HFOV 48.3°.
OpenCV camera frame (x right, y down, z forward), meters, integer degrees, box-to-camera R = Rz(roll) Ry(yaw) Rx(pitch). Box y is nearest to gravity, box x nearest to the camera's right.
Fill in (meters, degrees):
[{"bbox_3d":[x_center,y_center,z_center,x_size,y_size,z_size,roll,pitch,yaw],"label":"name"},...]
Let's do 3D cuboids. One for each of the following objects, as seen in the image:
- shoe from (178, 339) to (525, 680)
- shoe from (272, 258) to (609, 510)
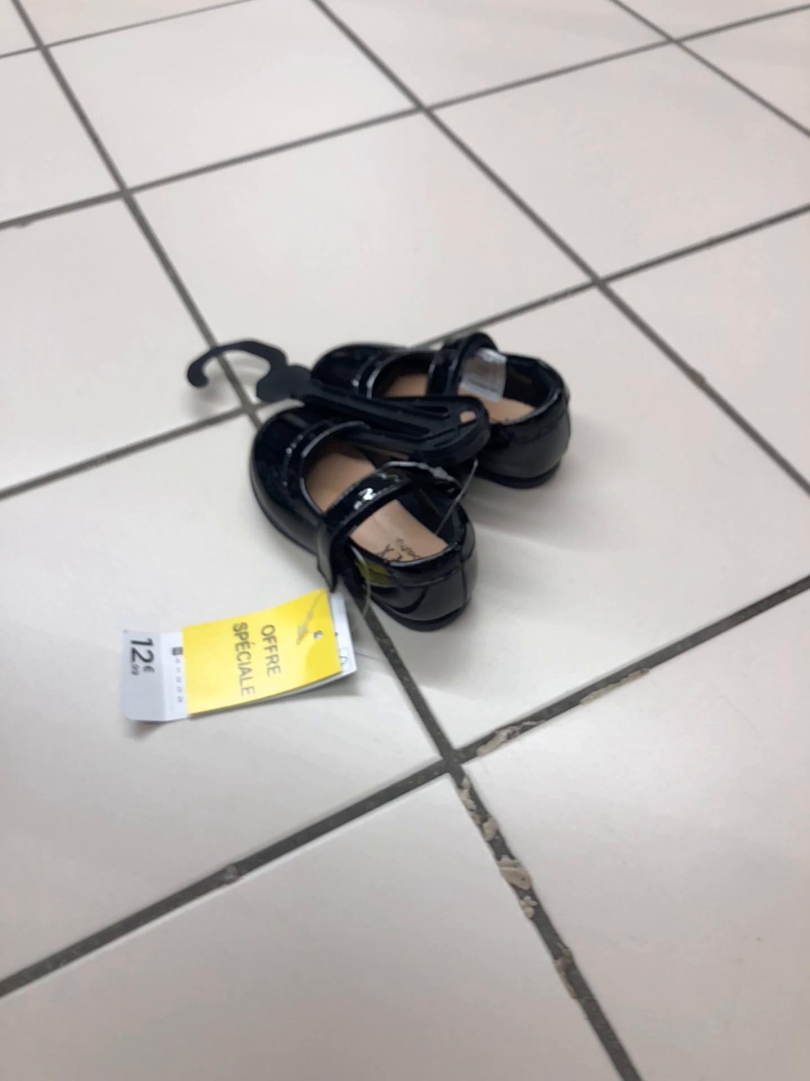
[{"bbox_3d":[-0.023,-0.016,0.359,0.060,0.048,0.130,-37,61,-24],"label":"shoe"},{"bbox_3d":[0.015,-0.070,0.394,0.127,0.048,0.060,20,56,15],"label":"shoe"}]
